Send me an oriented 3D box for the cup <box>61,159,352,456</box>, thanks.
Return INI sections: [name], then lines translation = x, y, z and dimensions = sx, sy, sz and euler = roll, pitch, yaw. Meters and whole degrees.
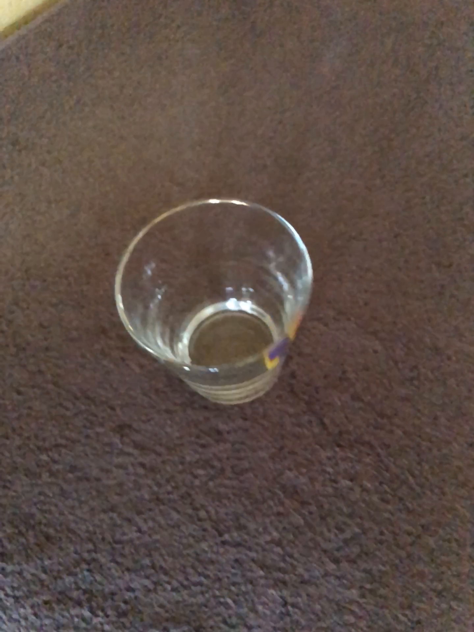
[cup]
translation = -0.008, 0.000, 0.236
dimensions = 0.080, 0.080, 0.080
euler = -2, 65, 4
